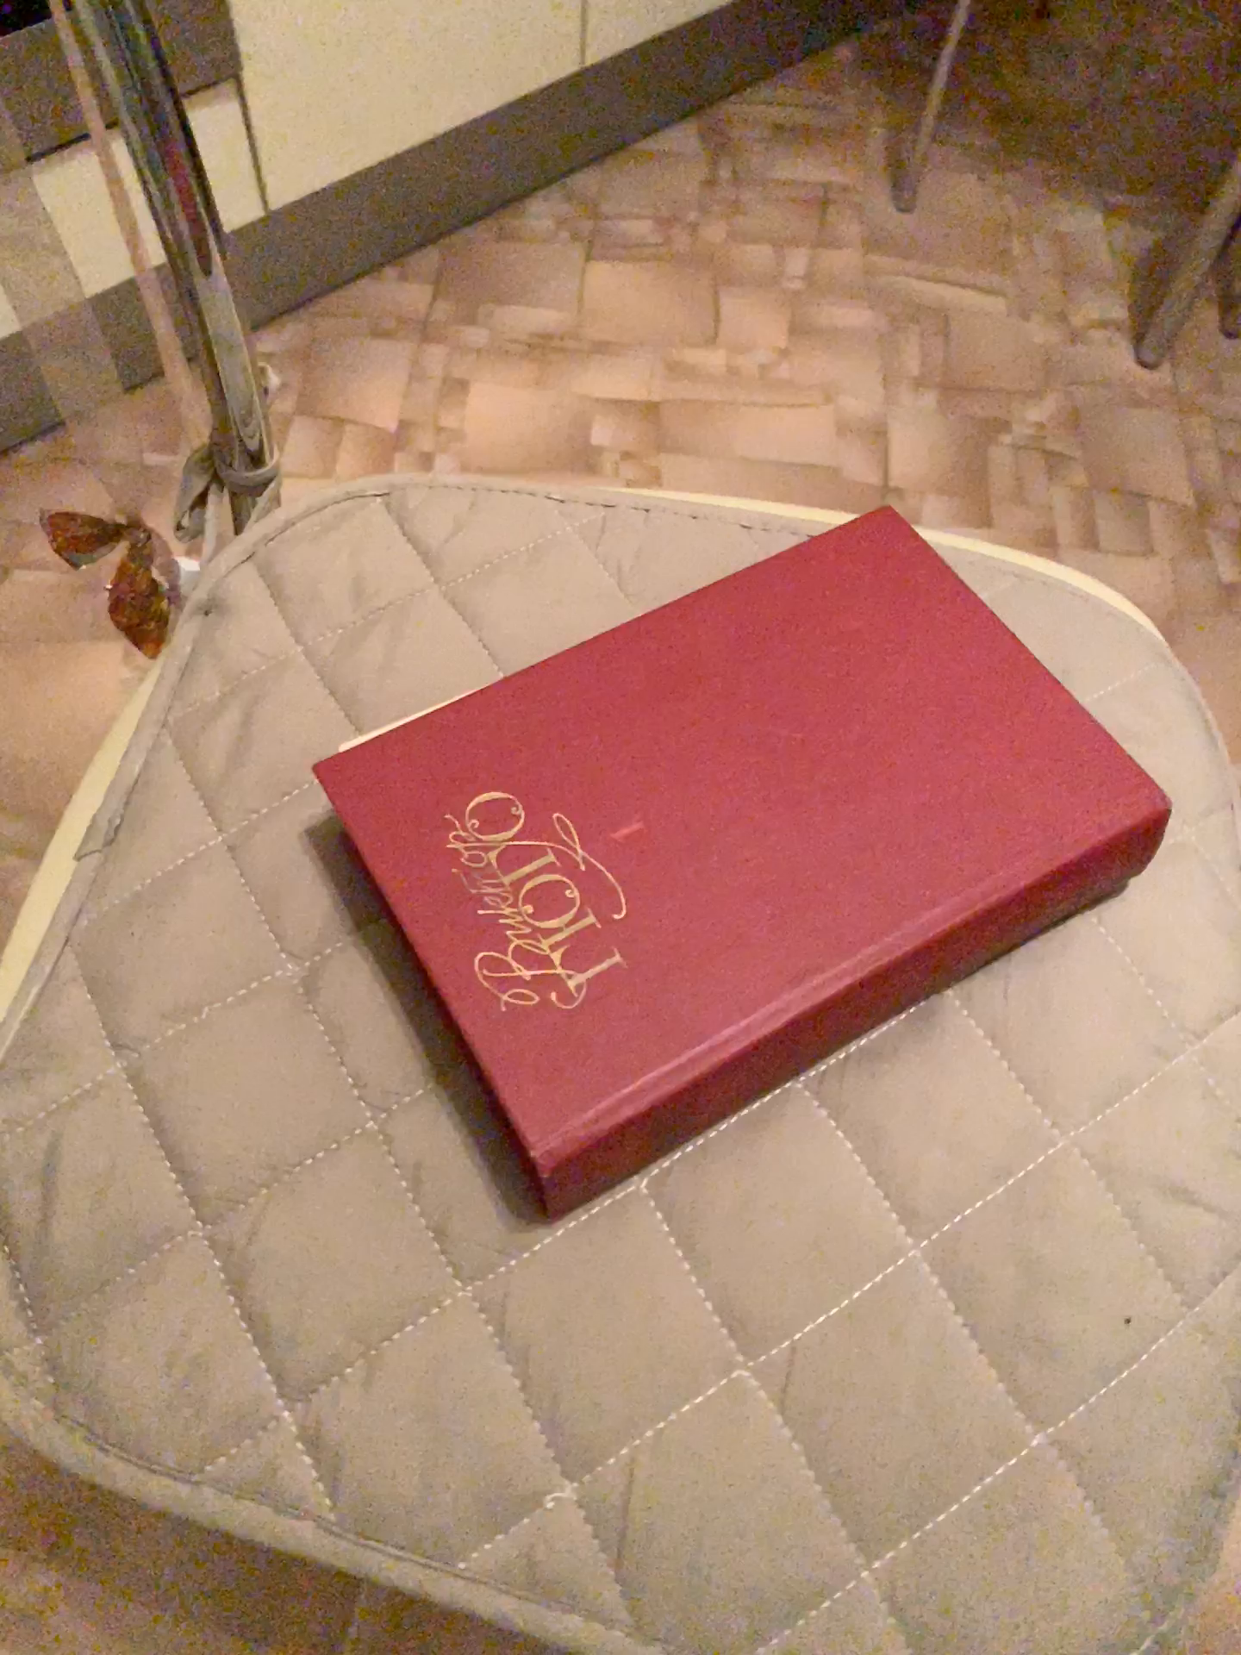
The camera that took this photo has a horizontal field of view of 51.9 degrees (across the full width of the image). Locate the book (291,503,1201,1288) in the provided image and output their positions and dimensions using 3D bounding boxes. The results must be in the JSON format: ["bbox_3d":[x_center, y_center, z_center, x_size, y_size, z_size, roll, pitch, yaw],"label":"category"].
[{"bbox_3d":[0.033,0.010,0.366,0.200,0.060,0.141,-27,65,-17],"label":"book"}]
